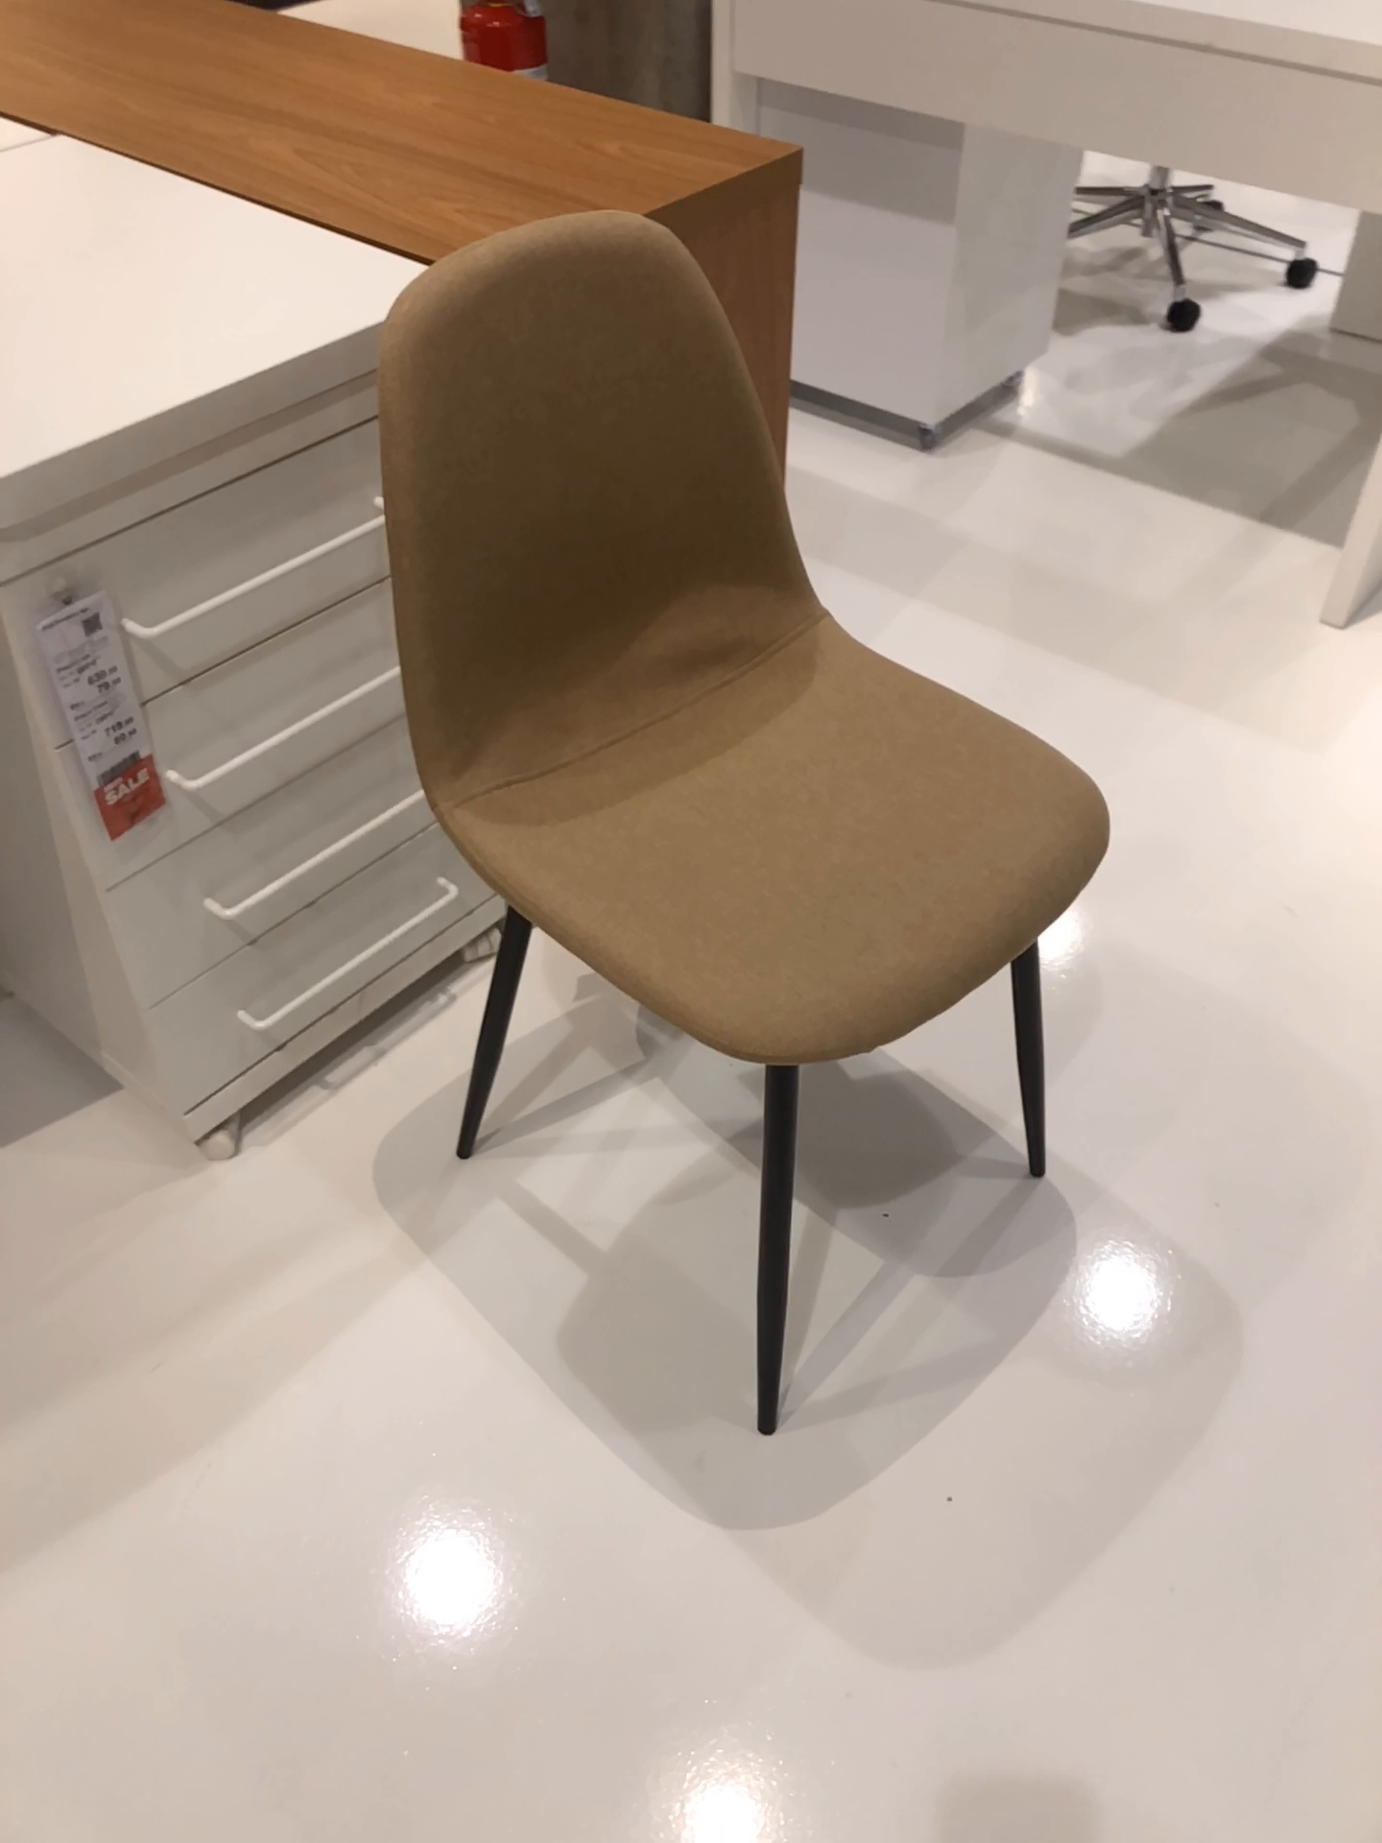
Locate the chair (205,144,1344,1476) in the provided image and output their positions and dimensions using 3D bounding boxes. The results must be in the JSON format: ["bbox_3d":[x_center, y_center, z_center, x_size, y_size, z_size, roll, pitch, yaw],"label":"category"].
[{"bbox_3d":[0.049,-0.087,1.210,0.482,0.784,0.522,-34,52,-31],"label":"chair"}]
